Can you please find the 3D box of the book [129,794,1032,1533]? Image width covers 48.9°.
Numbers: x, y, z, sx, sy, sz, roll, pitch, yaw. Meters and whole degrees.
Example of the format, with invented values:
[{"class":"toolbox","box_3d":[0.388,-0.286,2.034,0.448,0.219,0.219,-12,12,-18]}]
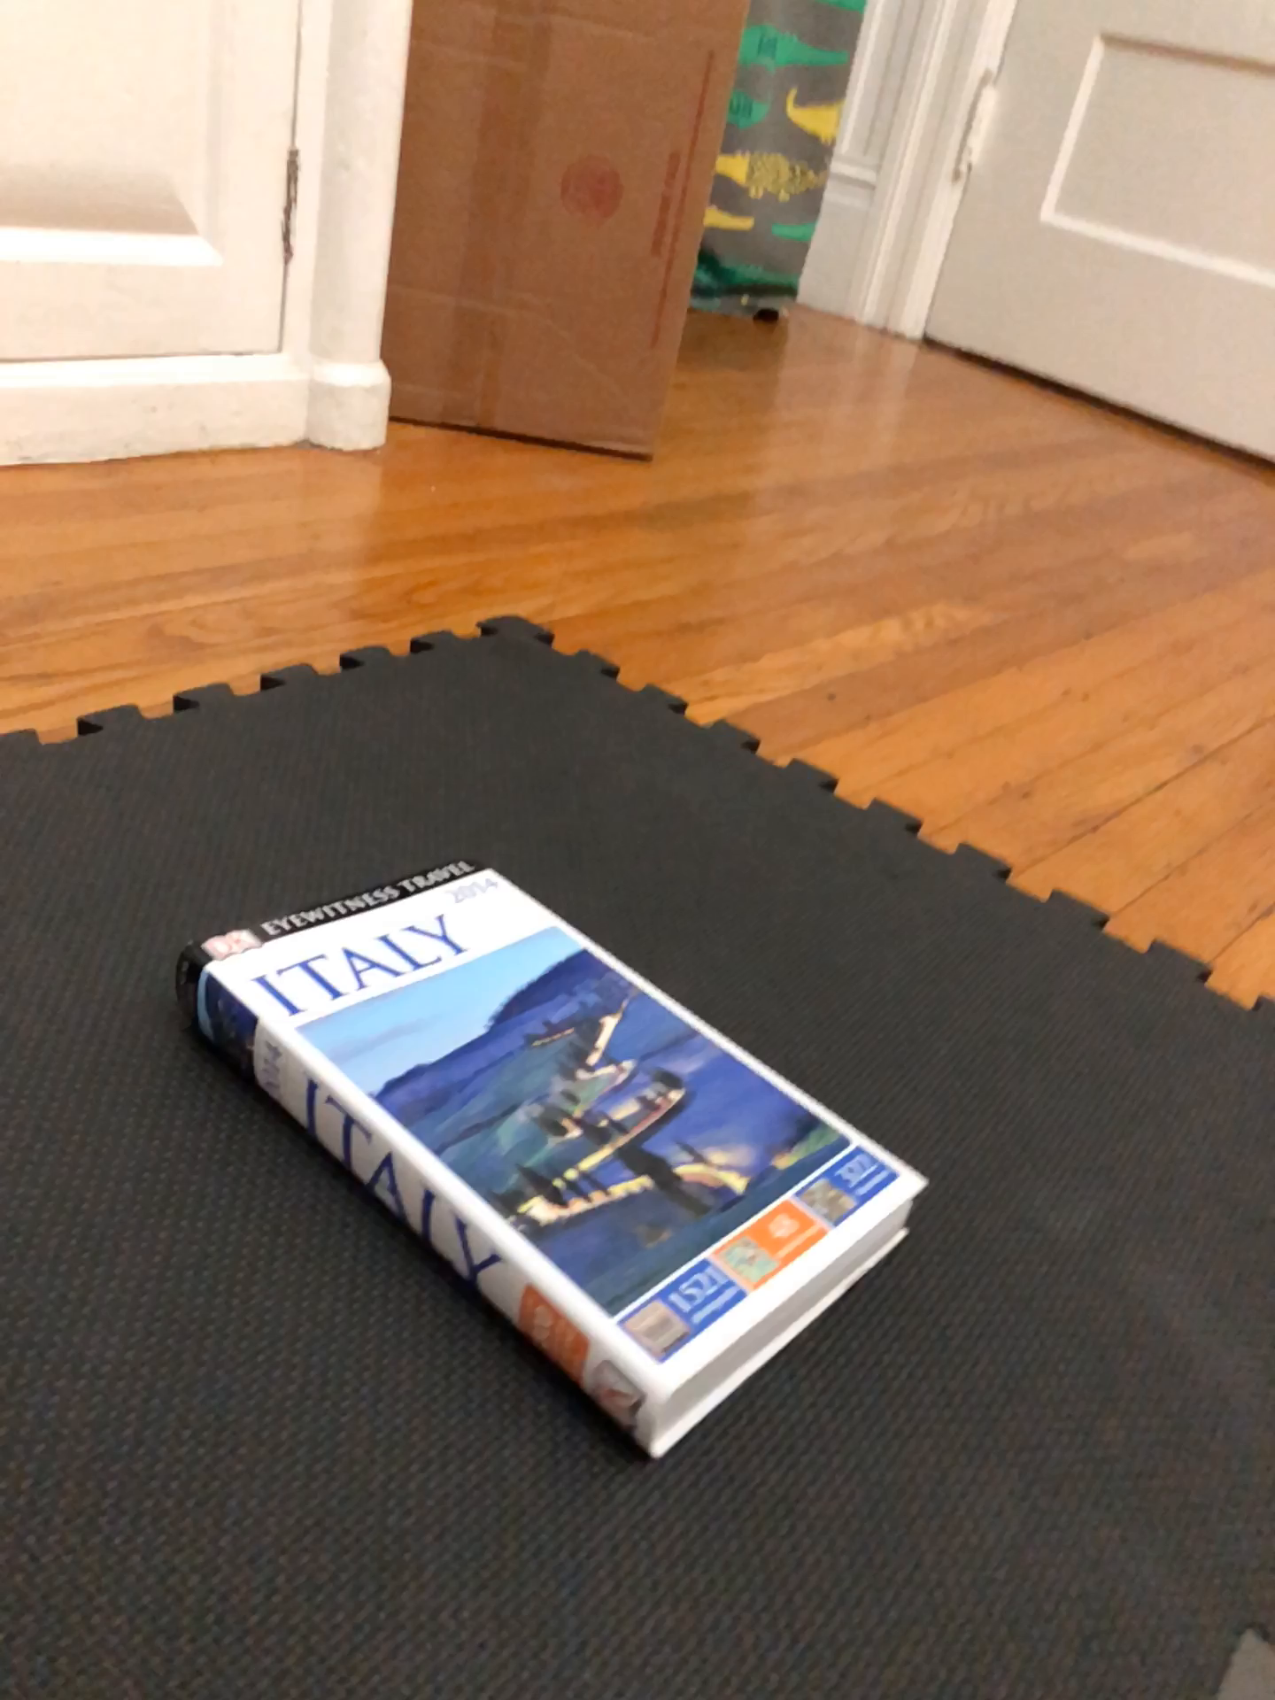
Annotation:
[{"class":"book","box_3d":[-0.023,0.073,0.457,0.251,0.040,0.161,32,35,30]}]
